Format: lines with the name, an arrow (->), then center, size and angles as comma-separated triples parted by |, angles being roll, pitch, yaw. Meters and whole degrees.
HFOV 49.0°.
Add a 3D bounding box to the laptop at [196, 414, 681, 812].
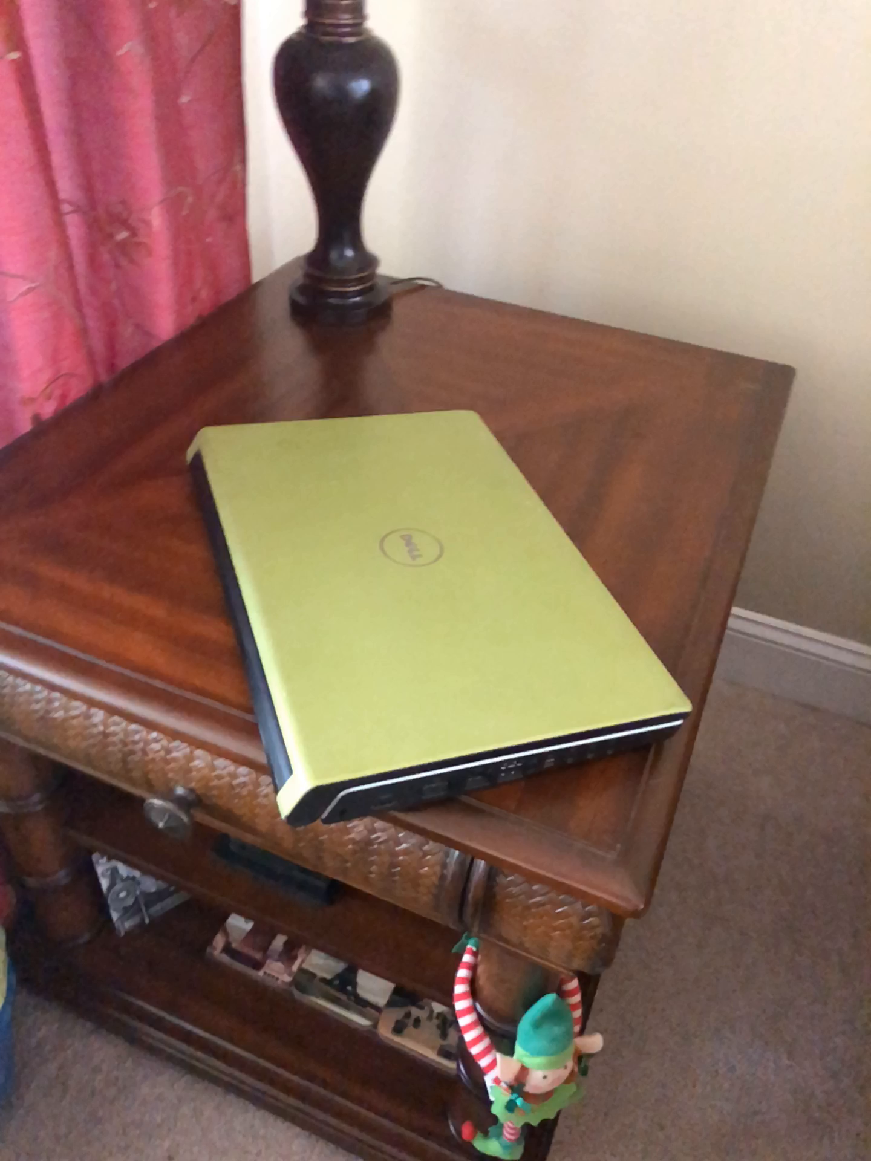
laptop -> -0.023, -0.012, 0.686 | 0.236, 0.020, 0.380 | -7, 40, -20
